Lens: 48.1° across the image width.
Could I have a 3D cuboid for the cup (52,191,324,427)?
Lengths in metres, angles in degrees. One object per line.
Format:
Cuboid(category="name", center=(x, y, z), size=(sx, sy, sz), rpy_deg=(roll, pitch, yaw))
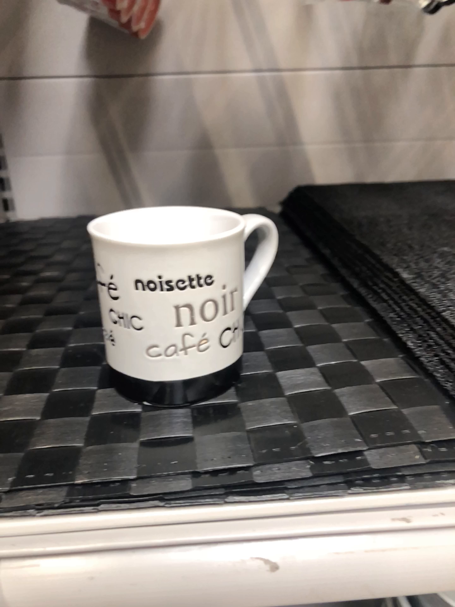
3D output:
Cuboid(category="cup", center=(-0.015, -0.006, 0.226), size=(0.093, 0.066, 0.067), rpy_deg=(-18, 27, -34))
